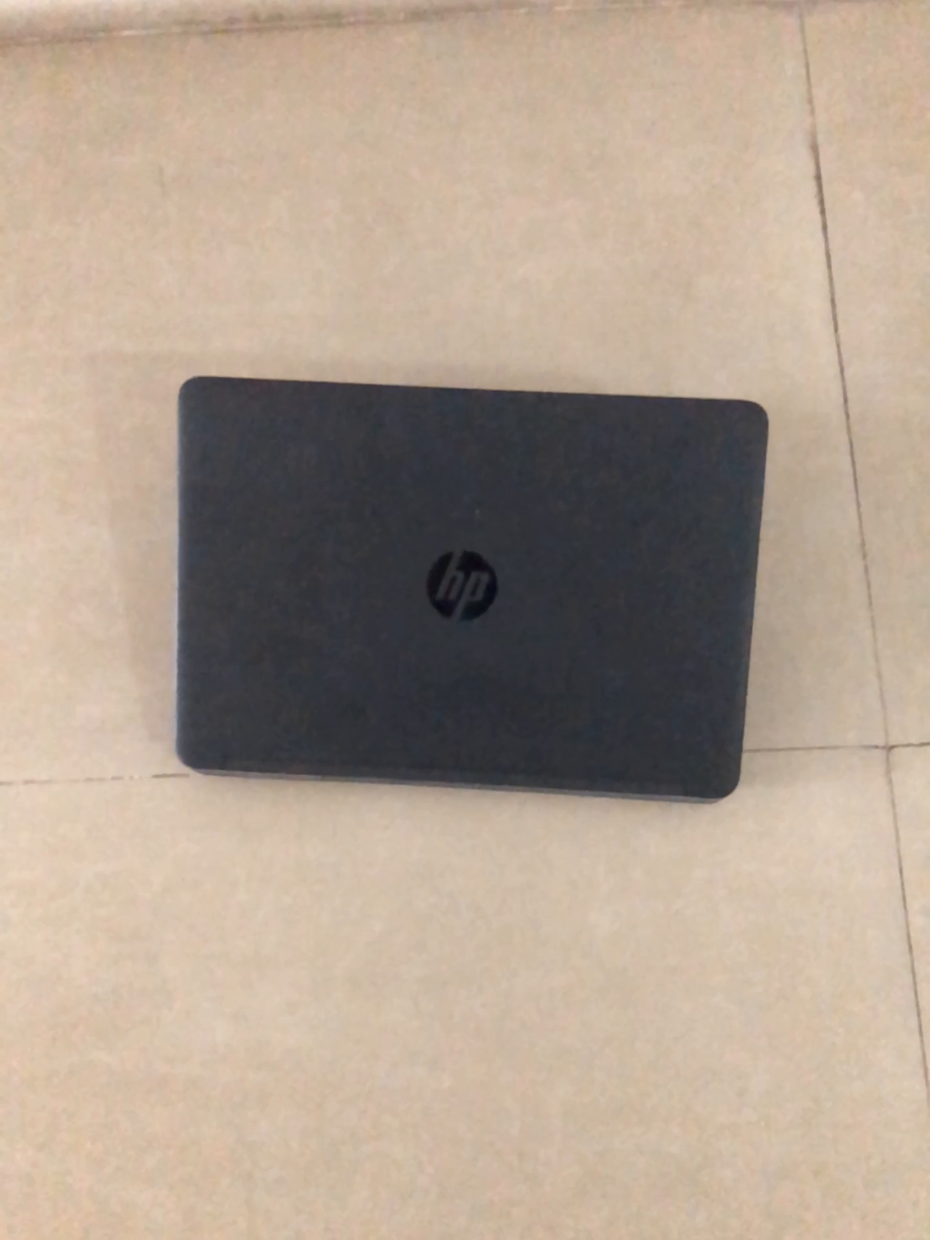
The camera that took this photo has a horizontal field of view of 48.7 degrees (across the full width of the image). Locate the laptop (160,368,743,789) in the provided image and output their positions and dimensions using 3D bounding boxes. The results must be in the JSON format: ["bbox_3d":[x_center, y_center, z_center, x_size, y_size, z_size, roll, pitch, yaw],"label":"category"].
[{"bbox_3d":[-0.003,-0.020,0.597,0.304,0.085,0.214,3,82,2],"label":"laptop"}]
